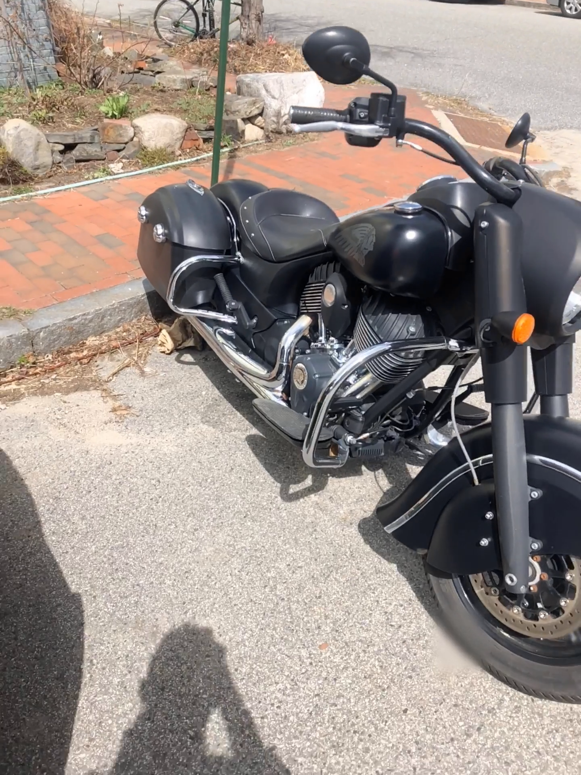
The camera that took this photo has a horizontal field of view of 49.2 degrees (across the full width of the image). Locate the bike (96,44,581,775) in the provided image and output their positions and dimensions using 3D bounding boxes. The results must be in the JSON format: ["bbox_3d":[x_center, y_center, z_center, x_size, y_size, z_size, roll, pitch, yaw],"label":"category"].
[{"bbox_3d":[0.240,-0.217,1.877,0.782,1.237,2.134,-20,37,-25],"label":"bike"}]
